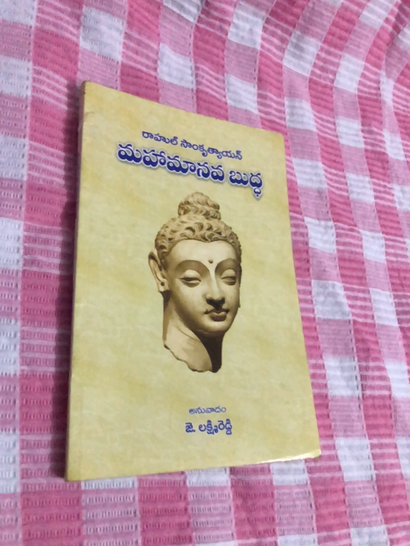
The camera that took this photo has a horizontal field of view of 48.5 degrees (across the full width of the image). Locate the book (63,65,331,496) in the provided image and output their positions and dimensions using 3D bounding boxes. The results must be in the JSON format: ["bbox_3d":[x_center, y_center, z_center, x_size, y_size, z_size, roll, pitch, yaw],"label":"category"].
[{"bbox_3d":[-0.002,-0.002,0.262,0.141,0.020,0.220,7,69,-27],"label":"book"}]
